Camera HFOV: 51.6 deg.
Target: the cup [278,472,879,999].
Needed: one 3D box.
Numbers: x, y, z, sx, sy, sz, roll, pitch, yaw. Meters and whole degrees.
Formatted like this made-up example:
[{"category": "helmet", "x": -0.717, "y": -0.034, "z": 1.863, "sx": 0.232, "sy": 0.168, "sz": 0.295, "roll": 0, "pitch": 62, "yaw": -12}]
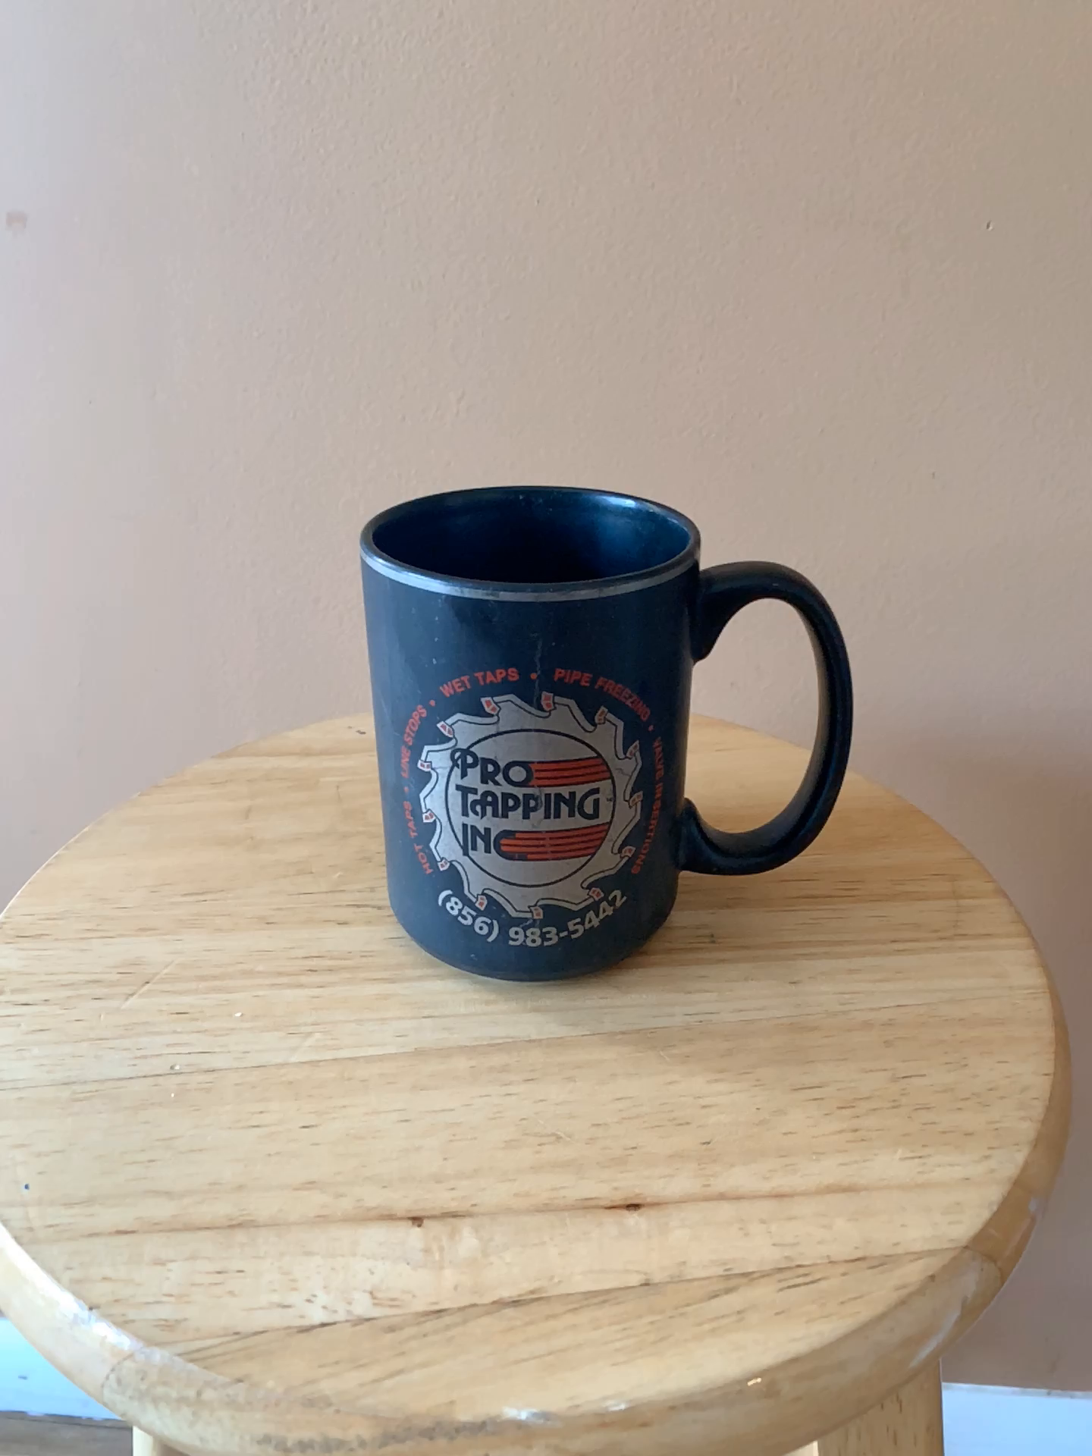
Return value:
[{"category": "cup", "x": 0.005, "y": -0.004, "z": 0.338, "sx": 0.140, "sy": 0.119, "sz": 0.111, "roll": 0, "pitch": 25, "yaw": -3}]
